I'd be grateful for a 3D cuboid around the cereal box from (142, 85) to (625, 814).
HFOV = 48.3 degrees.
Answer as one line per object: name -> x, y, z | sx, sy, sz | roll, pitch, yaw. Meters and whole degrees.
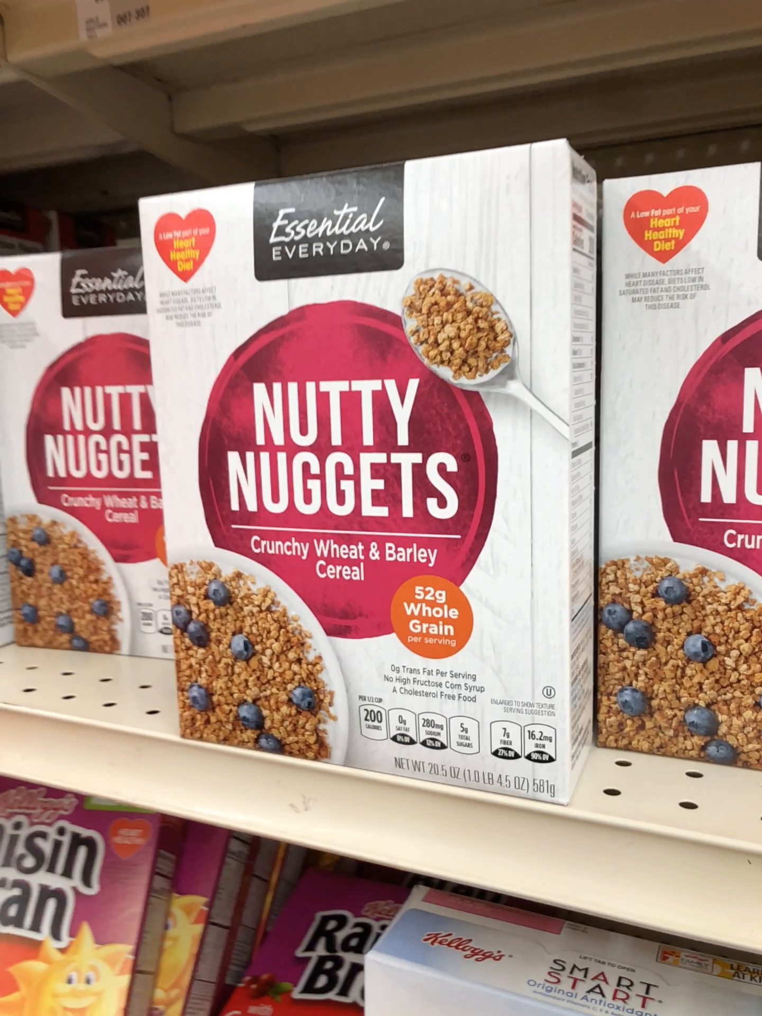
cereal box -> 0.001, -0.018, 0.325 | 0.170, 0.230, 0.050 | 2, 9, 24
